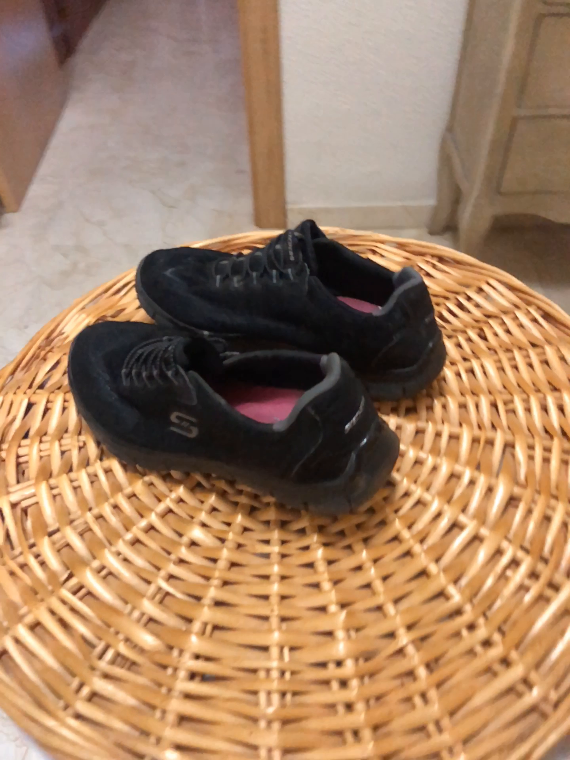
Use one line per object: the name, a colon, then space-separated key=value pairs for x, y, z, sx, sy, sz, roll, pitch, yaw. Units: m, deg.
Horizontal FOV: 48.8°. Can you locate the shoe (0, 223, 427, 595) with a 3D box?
shoe: x=-0.062 y=0.002 z=0.398 sx=0.265 sy=0.079 sz=0.118 roll=25 pitch=53 yaw=23

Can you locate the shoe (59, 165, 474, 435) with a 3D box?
shoe: x=-0.014 y=-0.070 z=0.467 sx=0.264 sy=0.079 sz=0.118 roll=19 pitch=51 yaw=19
